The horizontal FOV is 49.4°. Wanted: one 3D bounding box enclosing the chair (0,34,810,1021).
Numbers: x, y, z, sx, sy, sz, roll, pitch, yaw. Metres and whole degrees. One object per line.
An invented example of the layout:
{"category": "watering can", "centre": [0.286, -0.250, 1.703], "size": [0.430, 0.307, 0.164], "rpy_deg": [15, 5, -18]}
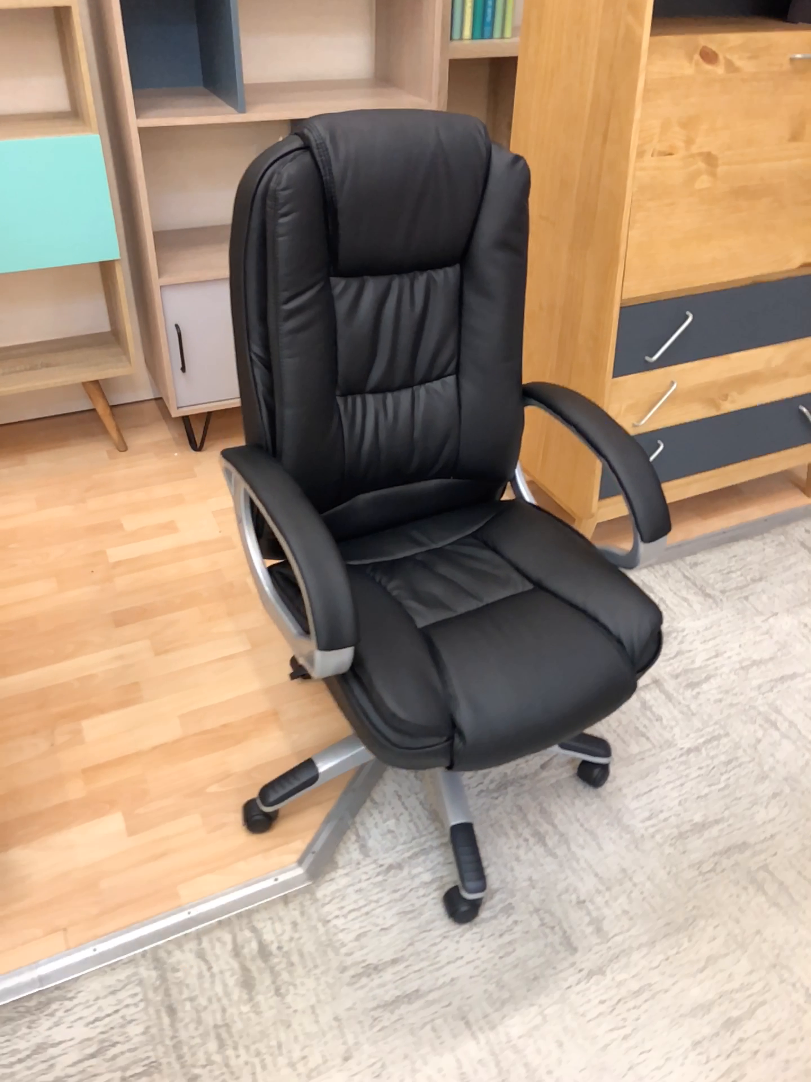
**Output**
{"category": "chair", "centre": [-0.012, -0.082, 1.279], "size": [0.763, 1.063, 0.682], "rpy_deg": [-19, 39, -27]}
